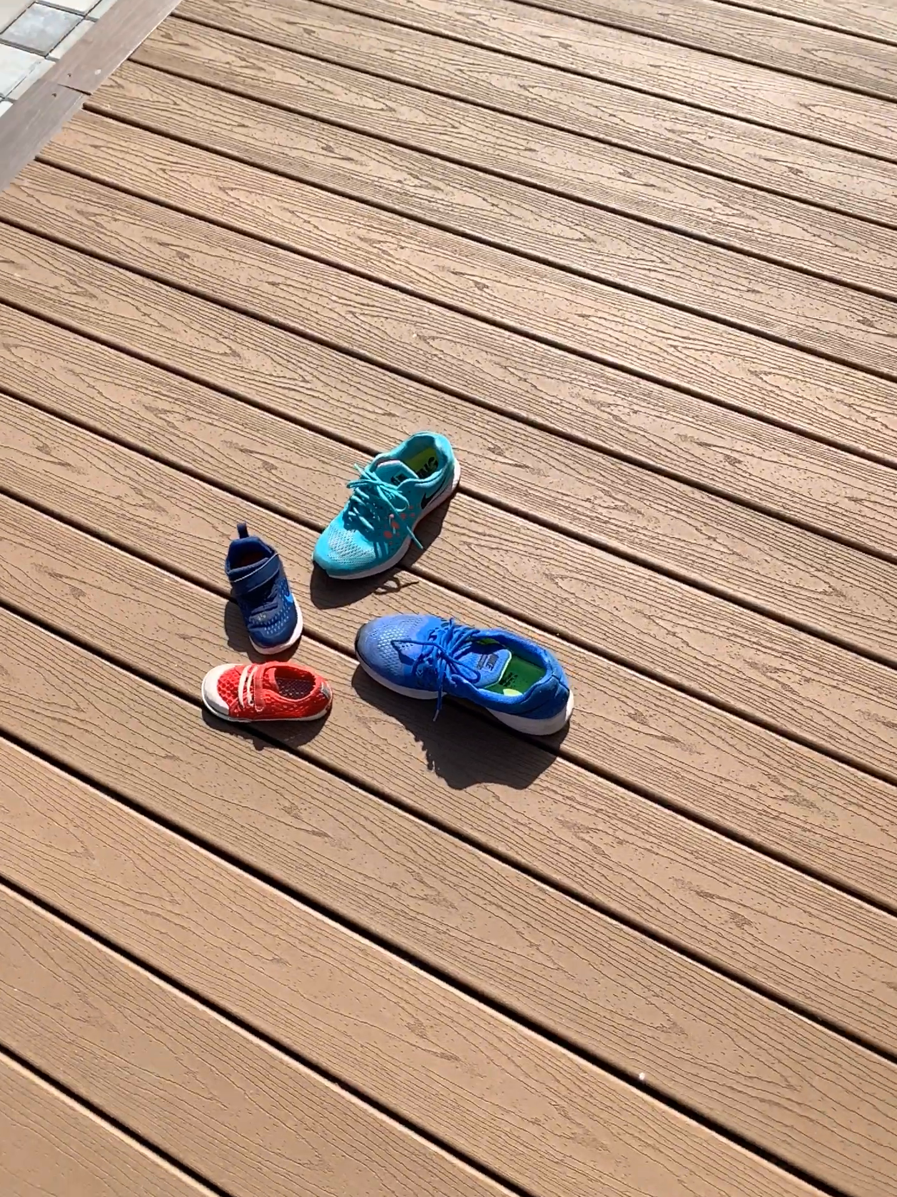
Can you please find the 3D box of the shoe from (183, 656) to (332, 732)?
[{"bbox_3d":[-0.240,0.122,1.163,0.170,0.060,0.080,-1,64,3],"label":"shoe"}]

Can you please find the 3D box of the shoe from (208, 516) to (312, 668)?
[{"bbox_3d":[-0.250,-0.010,1.213,0.090,0.070,0.170,-17,64,-5],"label":"shoe"}]

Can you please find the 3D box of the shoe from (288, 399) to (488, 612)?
[{"bbox_3d":[-0.077,-0.130,1.262,0.120,0.090,0.270,35,71,18],"label":"shoe"}]

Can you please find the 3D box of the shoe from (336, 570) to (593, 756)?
[{"bbox_3d":[0.021,0.080,1.156,0.290,0.090,0.120,19,67,12],"label":"shoe"}]
